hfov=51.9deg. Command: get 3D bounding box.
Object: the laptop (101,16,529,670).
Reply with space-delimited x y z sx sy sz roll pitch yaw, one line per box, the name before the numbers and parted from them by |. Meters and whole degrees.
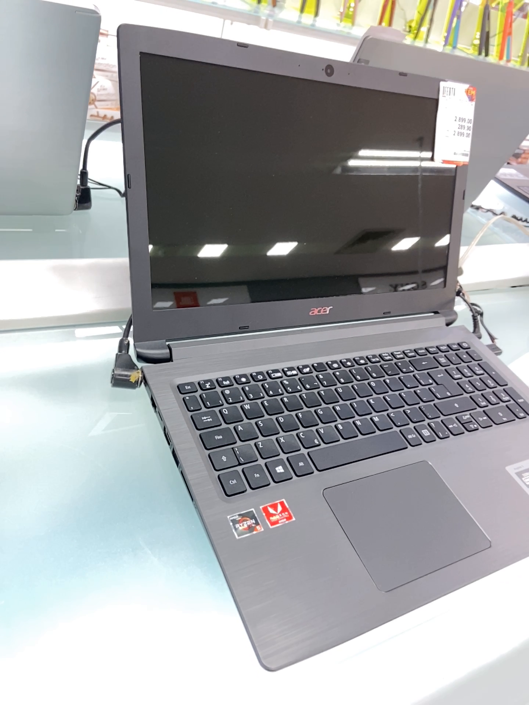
laptop | 0.101 -0.055 0.396 0.341 0.194 0.354 -7 45 -28
